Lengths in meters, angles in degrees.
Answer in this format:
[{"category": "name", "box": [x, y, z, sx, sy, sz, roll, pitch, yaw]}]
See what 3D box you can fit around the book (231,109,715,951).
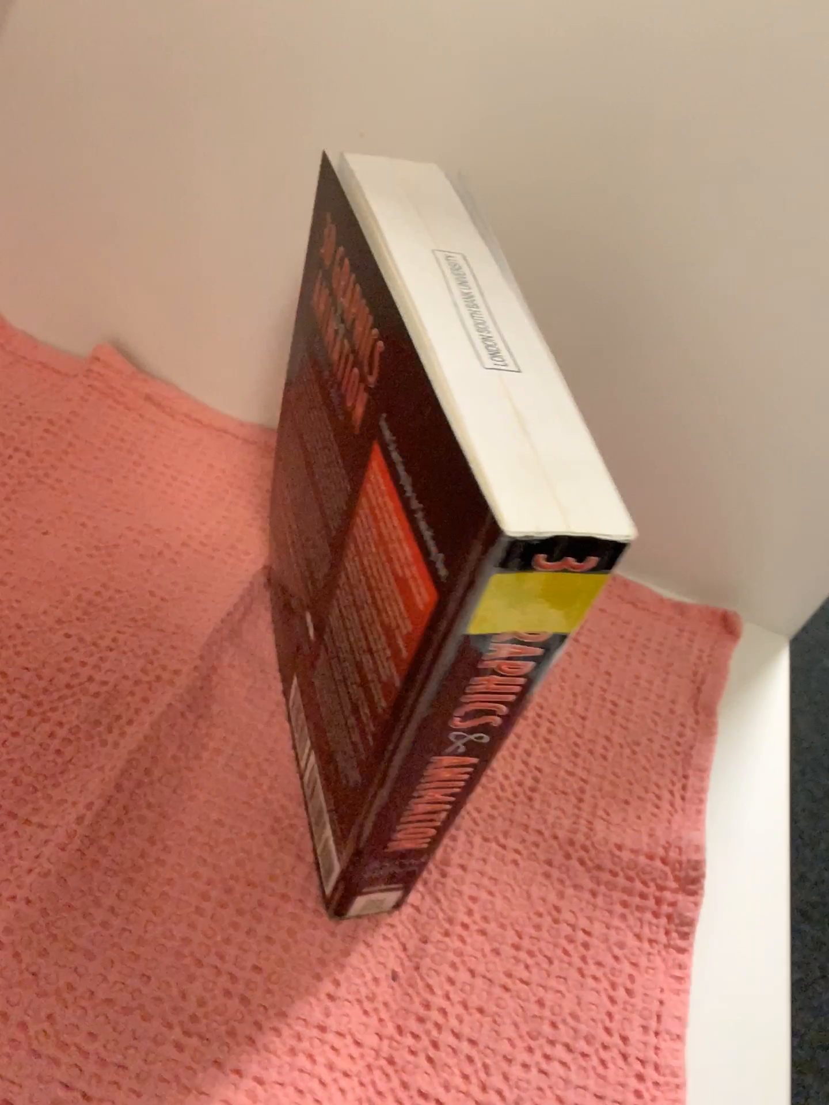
[{"category": "book", "box": [-0.016, -0.004, 0.335, 0.060, 0.228, 0.222, -3, 49, -21]}]
